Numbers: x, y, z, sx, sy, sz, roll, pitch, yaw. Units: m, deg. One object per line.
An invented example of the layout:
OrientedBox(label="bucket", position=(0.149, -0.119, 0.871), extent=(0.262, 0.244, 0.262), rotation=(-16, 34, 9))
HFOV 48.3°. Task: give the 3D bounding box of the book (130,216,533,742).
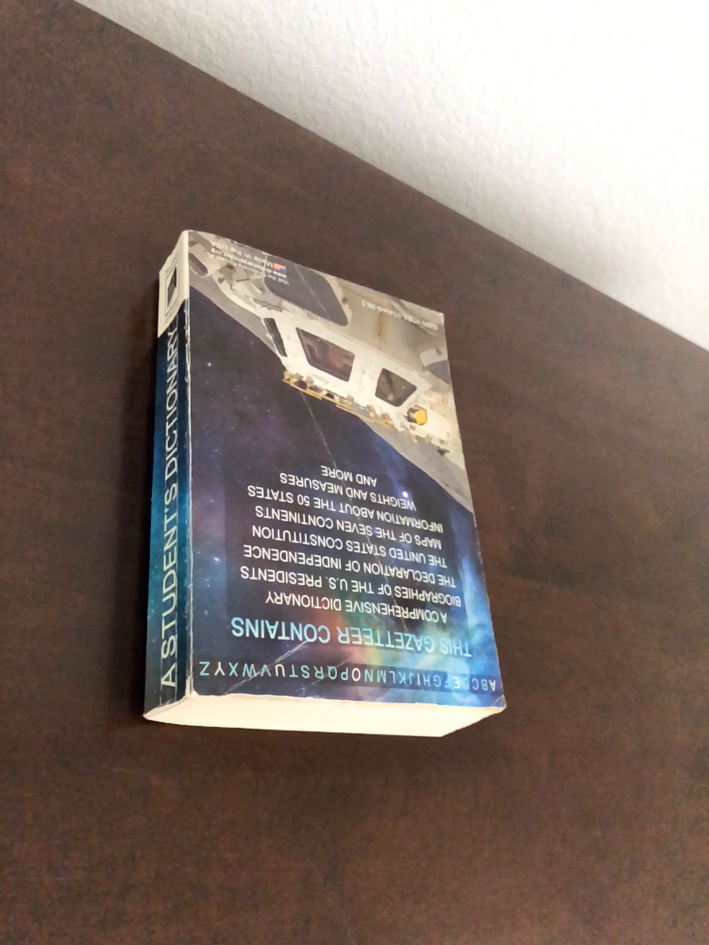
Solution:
OrientedBox(label="book", position=(-0.010, 0.004, 0.323), extent=(0.141, 0.040, 0.196), rotation=(12, 59, -28))
